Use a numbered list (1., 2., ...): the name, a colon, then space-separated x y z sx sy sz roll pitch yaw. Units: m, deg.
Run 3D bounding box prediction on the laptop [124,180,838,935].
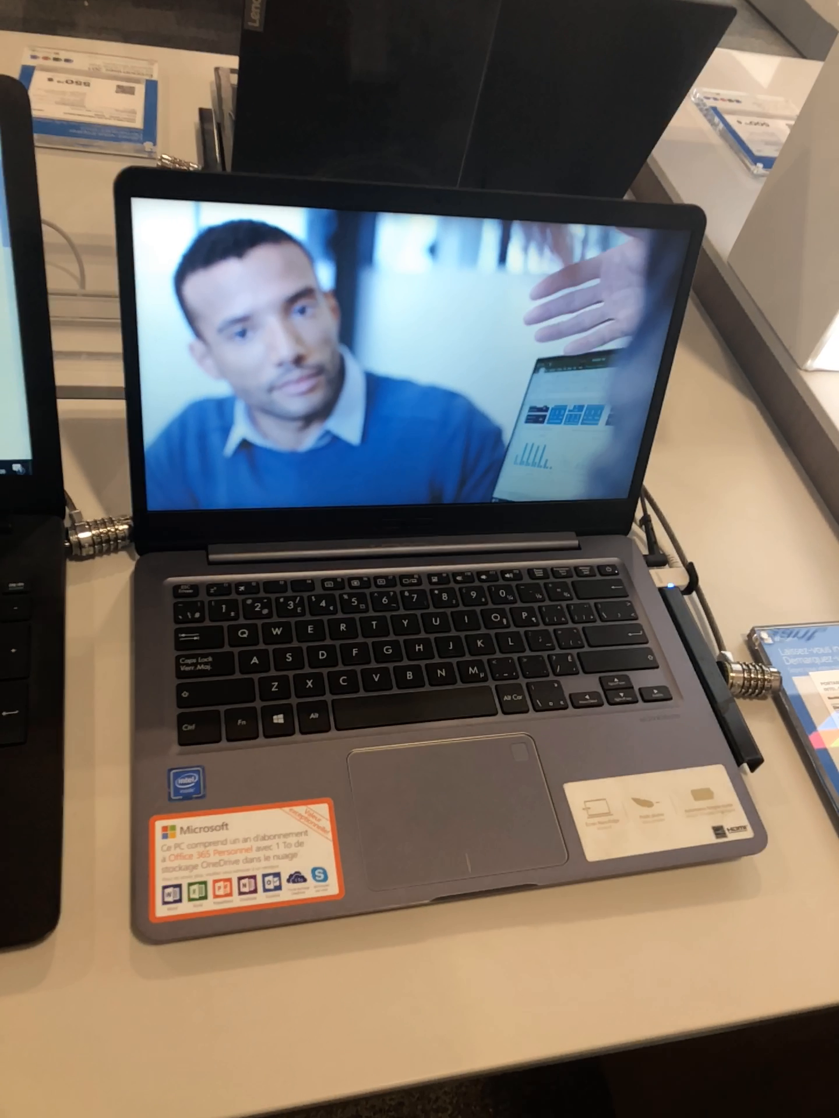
1. laptop: 0.022 -0.016 0.468 0.316 0.196 0.292 -3 51 -15
